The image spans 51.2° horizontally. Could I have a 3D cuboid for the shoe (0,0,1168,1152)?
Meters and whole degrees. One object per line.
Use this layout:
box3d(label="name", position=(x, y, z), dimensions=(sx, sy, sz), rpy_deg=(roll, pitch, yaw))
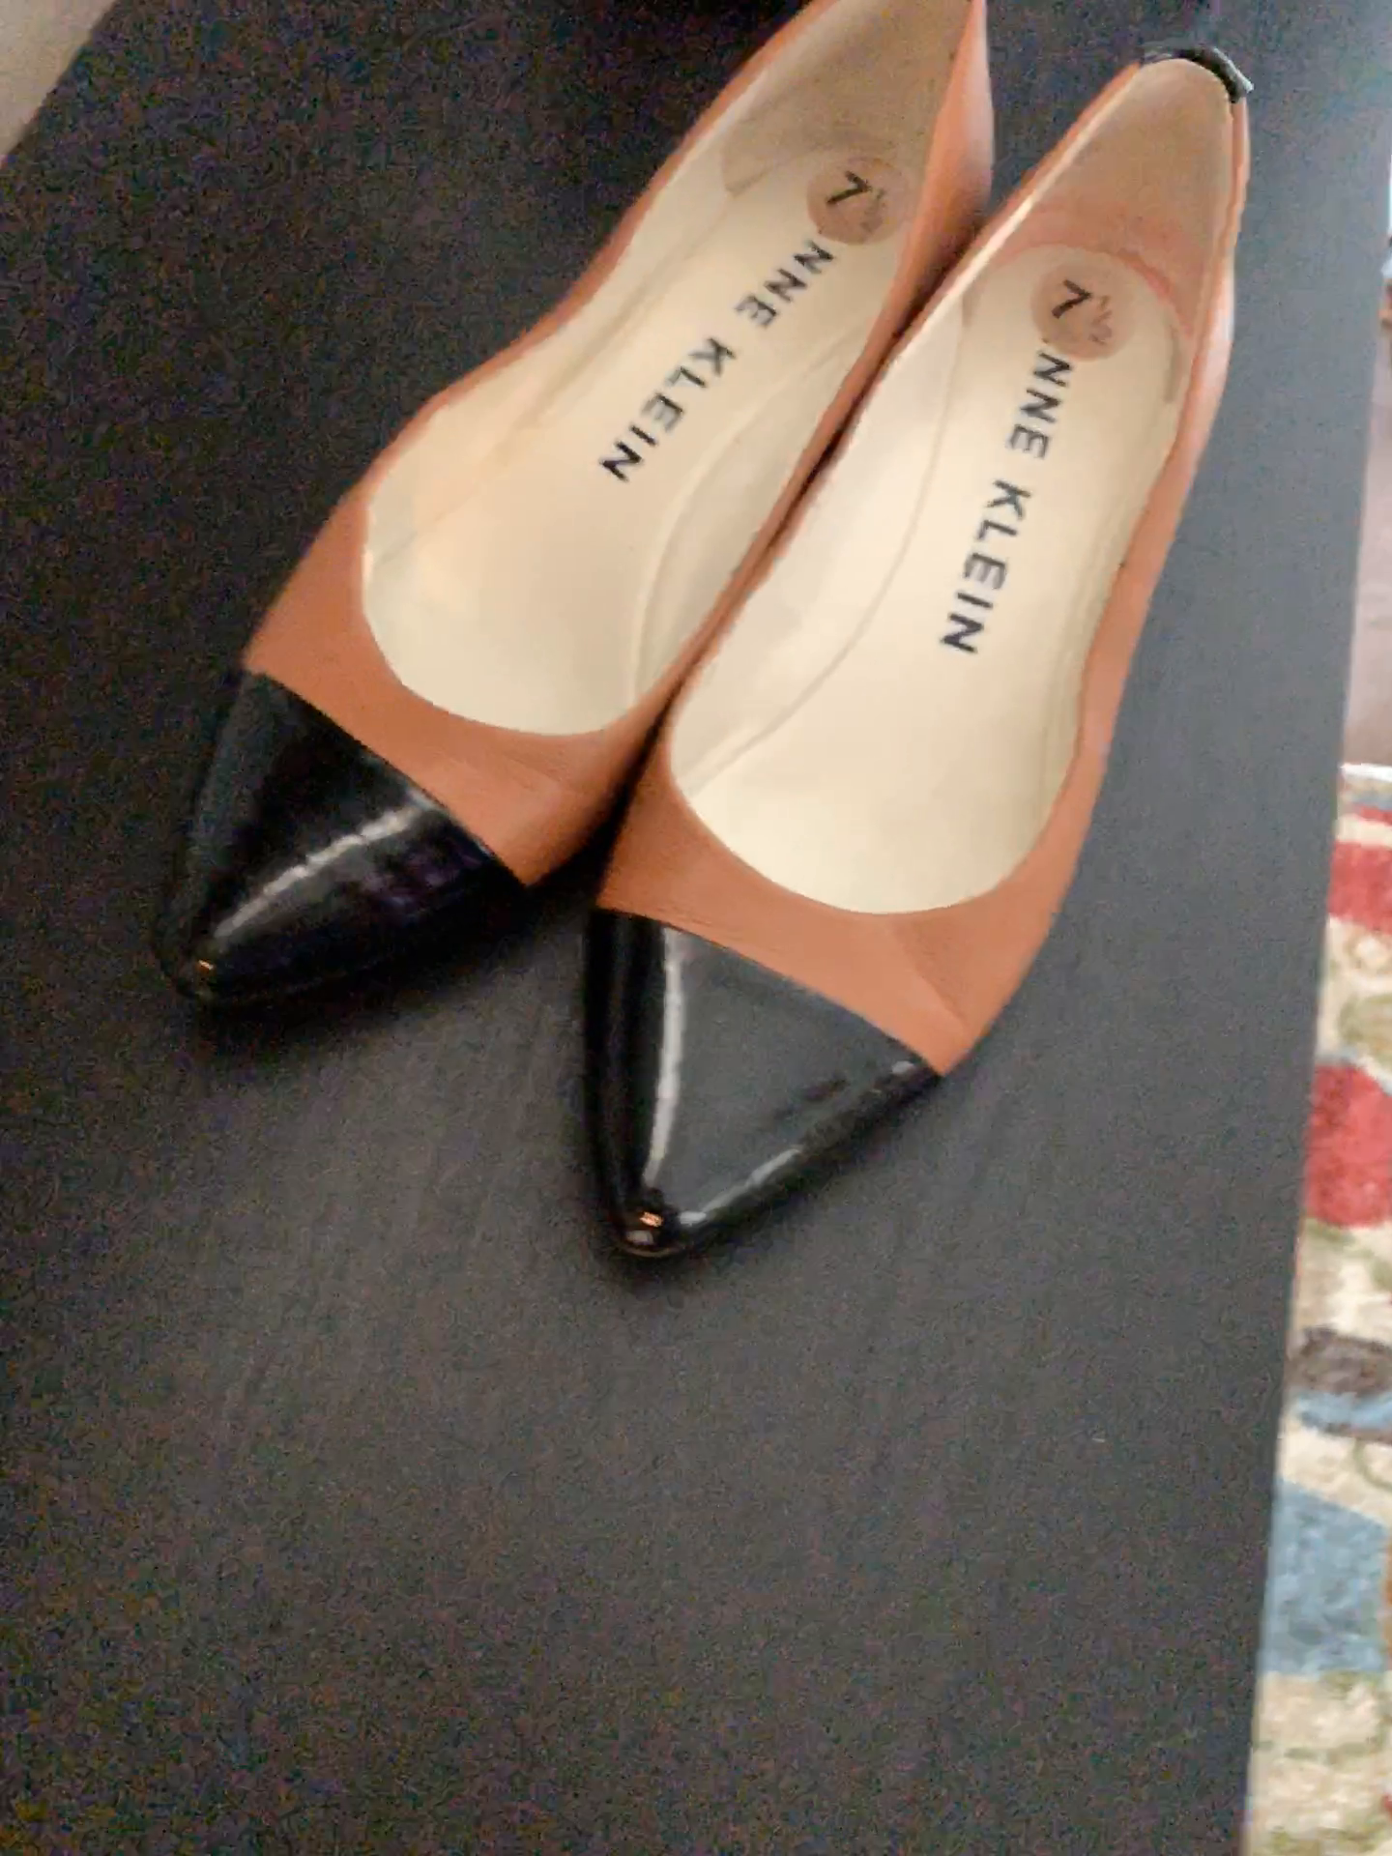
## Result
box3d(label="shoe", position=(-0.019, -0.095, 0.291), dimensions=(0.092, 0.080, 0.261), rpy_deg=(34, 67, 10))

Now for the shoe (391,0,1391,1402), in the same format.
box3d(label="shoe", position=(0.051, -0.054, 0.293), dimensions=(0.092, 0.099, 0.261), rpy_deg=(25, 66, 6))
